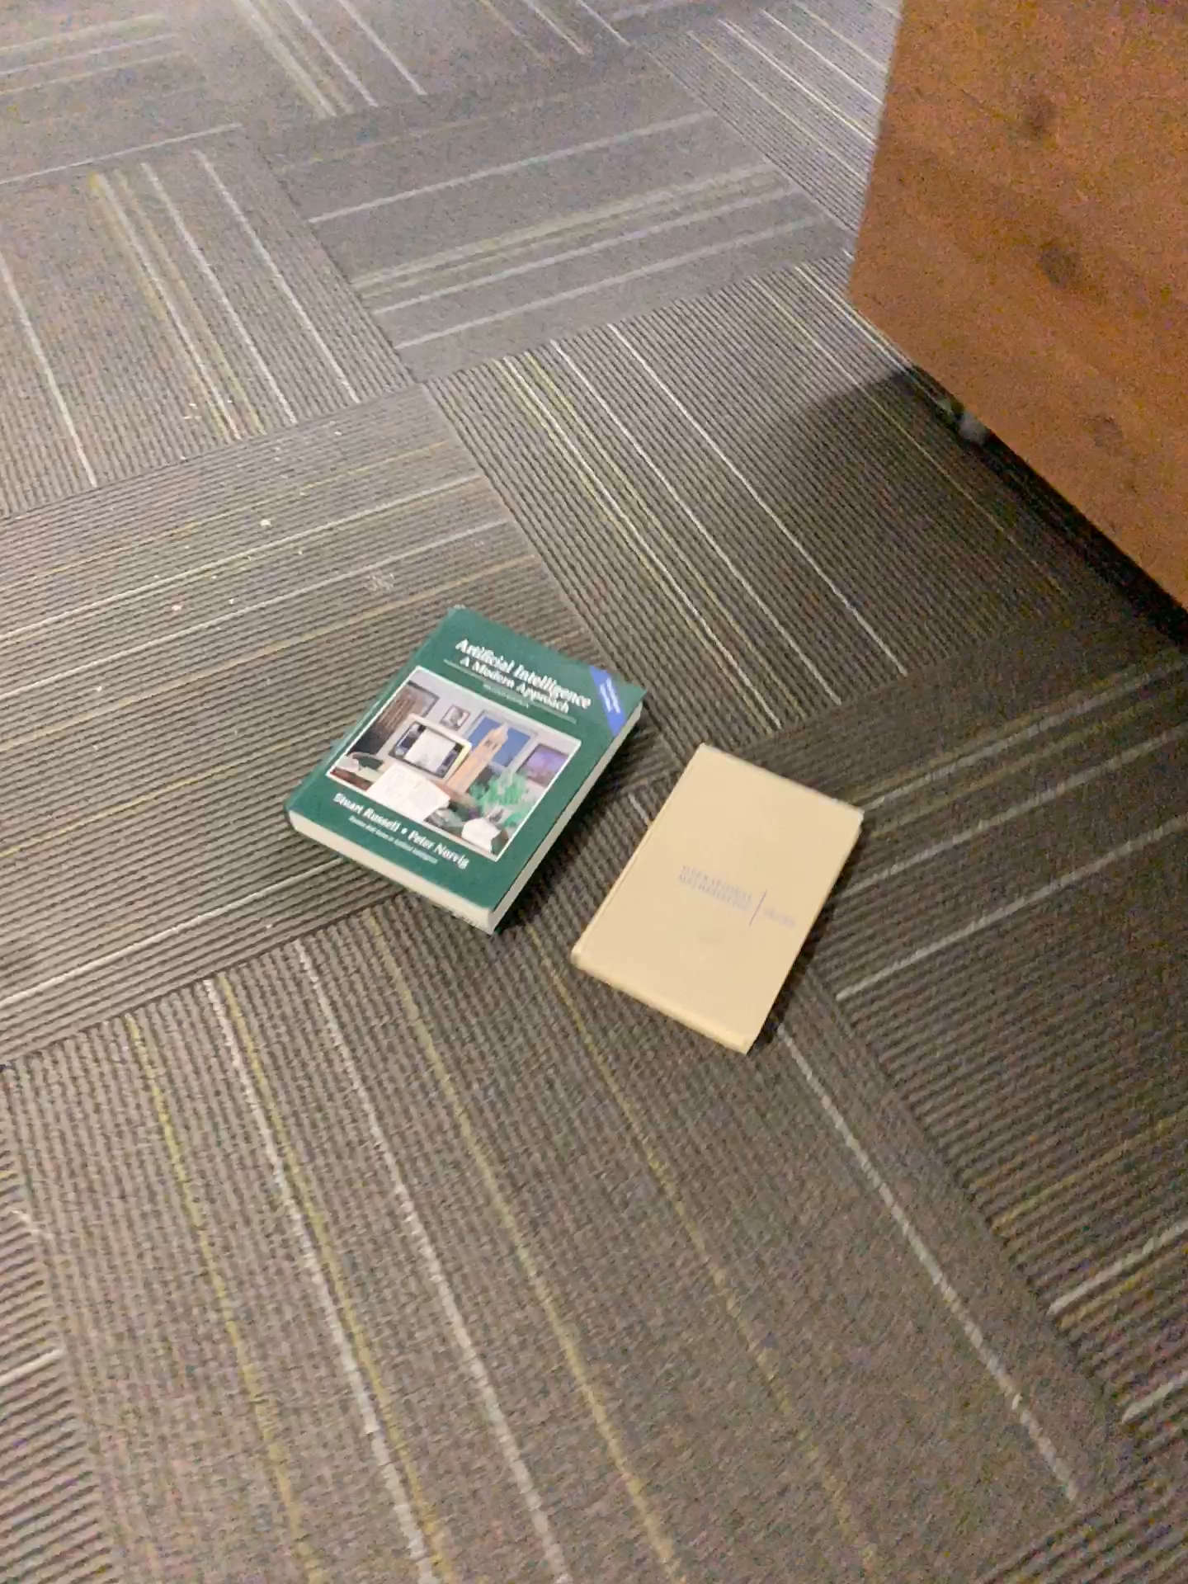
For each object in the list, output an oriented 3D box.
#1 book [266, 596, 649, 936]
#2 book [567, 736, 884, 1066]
[{"bbox_3d":[-0.114,-0.035,1.075,0.222,0.030,0.276,25,59,16],"label":"book"},{"bbox_3d":[0.111,0.080,0.996,0.170,0.030,0.240,25,59,16],"label":"book"}]
